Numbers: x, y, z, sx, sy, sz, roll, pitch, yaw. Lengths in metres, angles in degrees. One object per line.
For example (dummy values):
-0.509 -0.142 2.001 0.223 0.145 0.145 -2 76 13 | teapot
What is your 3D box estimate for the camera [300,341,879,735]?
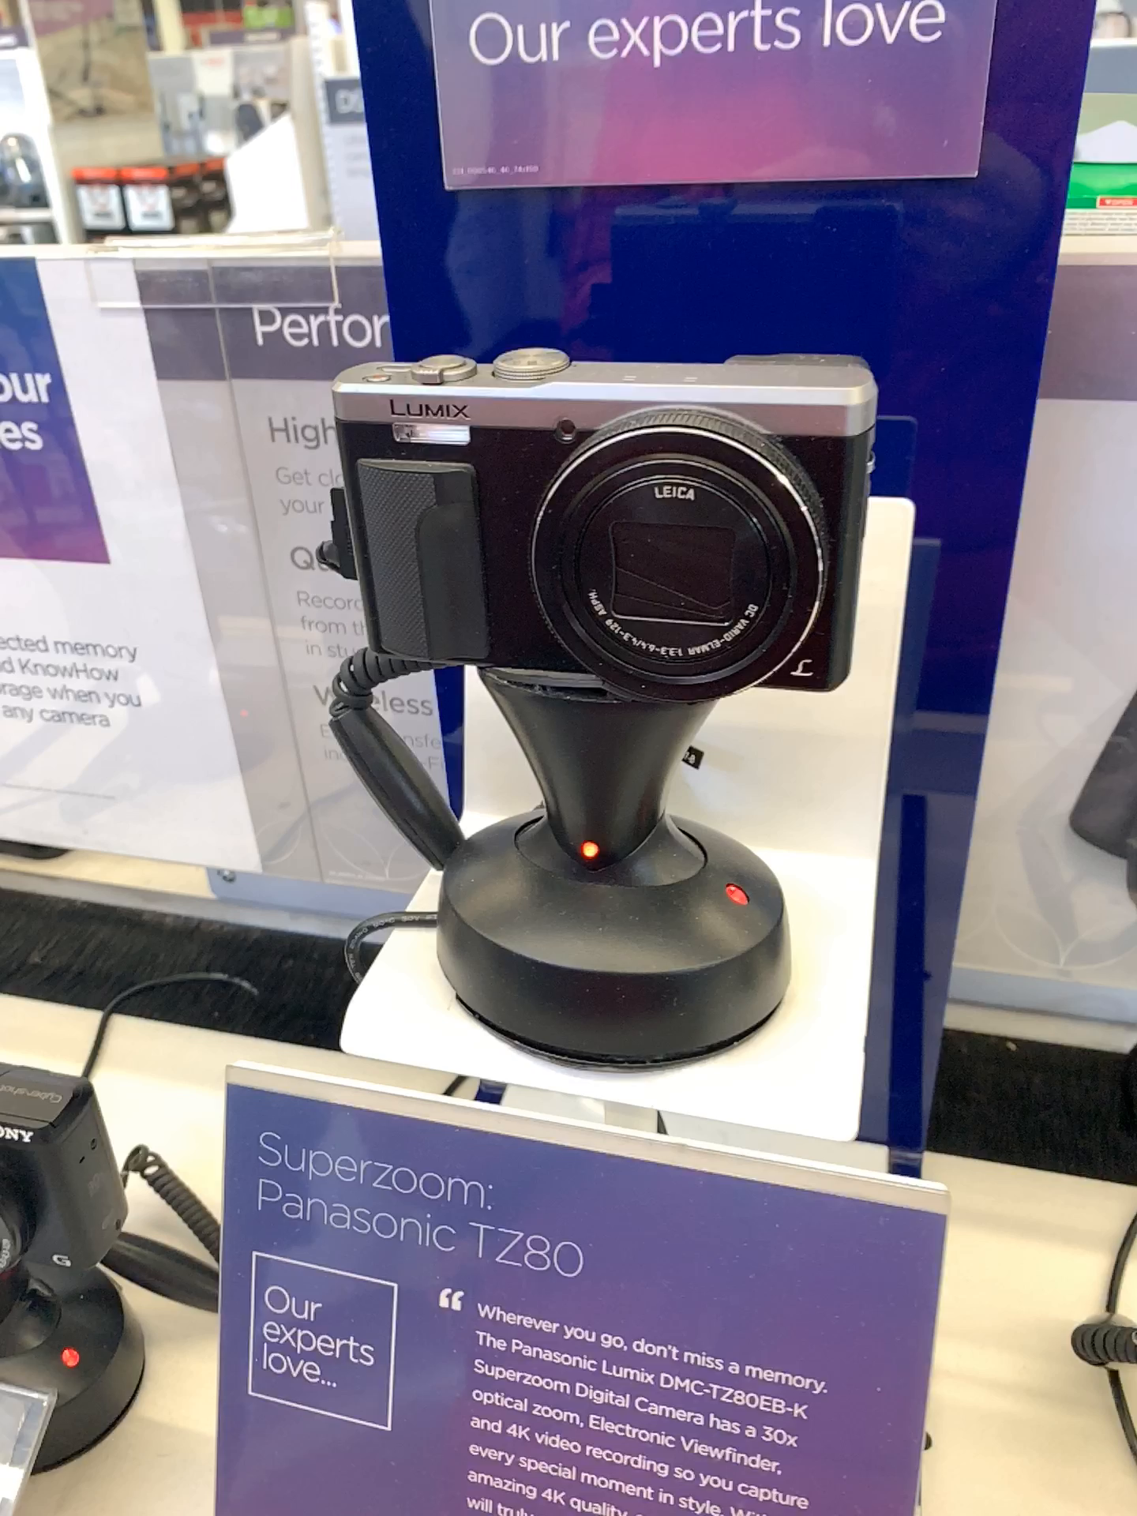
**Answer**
0.005 -0.048 0.249 0.110 0.069 0.030 6 31 12 | camera
